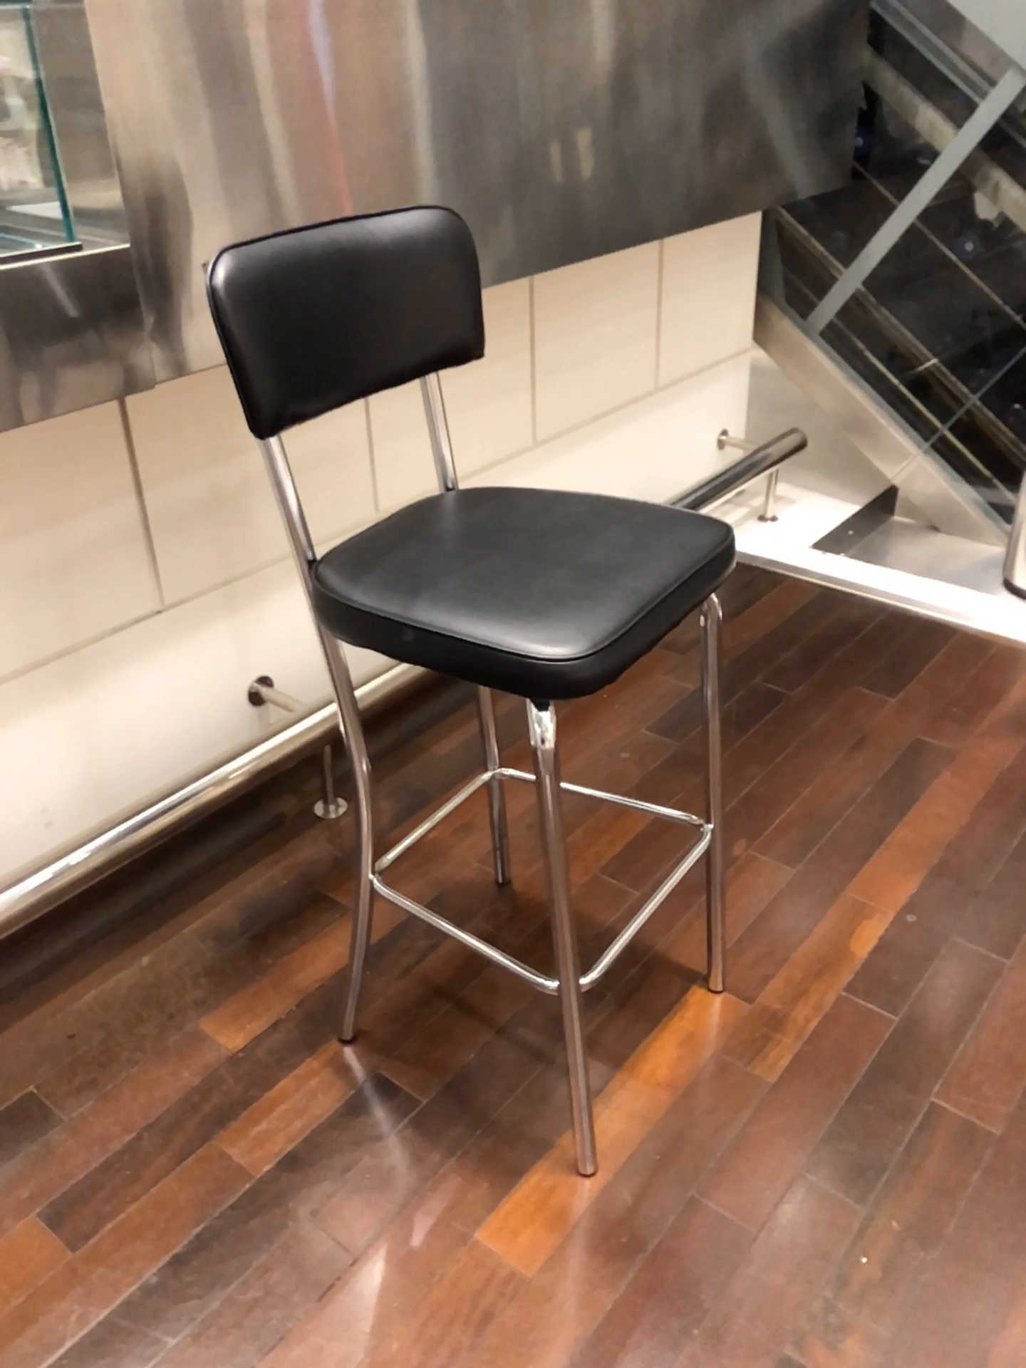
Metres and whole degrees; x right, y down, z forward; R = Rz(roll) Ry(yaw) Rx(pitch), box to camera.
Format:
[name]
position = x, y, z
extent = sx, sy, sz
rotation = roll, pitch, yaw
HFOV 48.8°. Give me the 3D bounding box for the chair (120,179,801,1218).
[chair]
position = -0.026, 0.008, 1.290
extent = 0.471, 1.012, 0.422
rotation = 17, 35, 30
